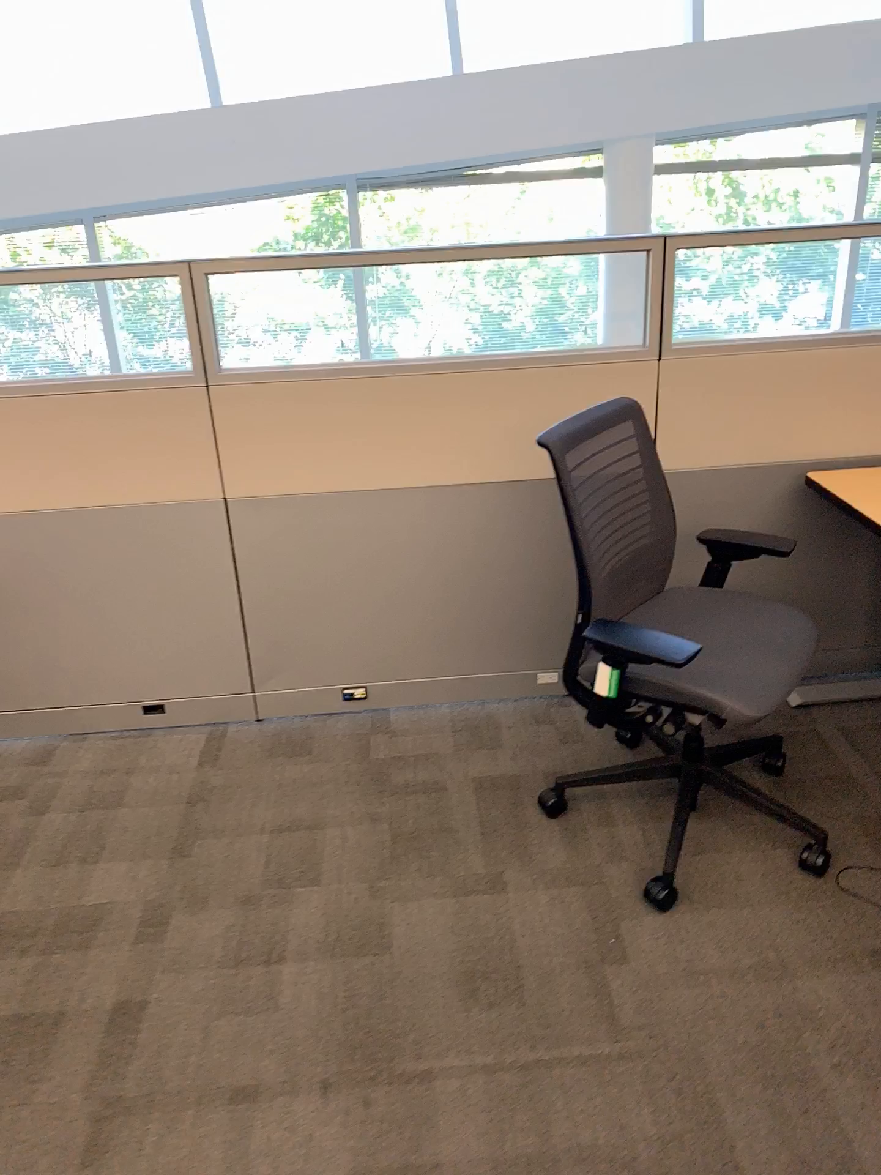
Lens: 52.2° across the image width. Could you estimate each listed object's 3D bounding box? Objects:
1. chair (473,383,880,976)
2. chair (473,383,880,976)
[{"bbox_3d":[0.644,0.139,2.259,0.802,1.084,0.772,13,29,32],"label":"chair"},{"bbox_3d":[0.644,0.139,2.259,0.802,1.084,0.772,13,29,32],"label":"chair"}]
